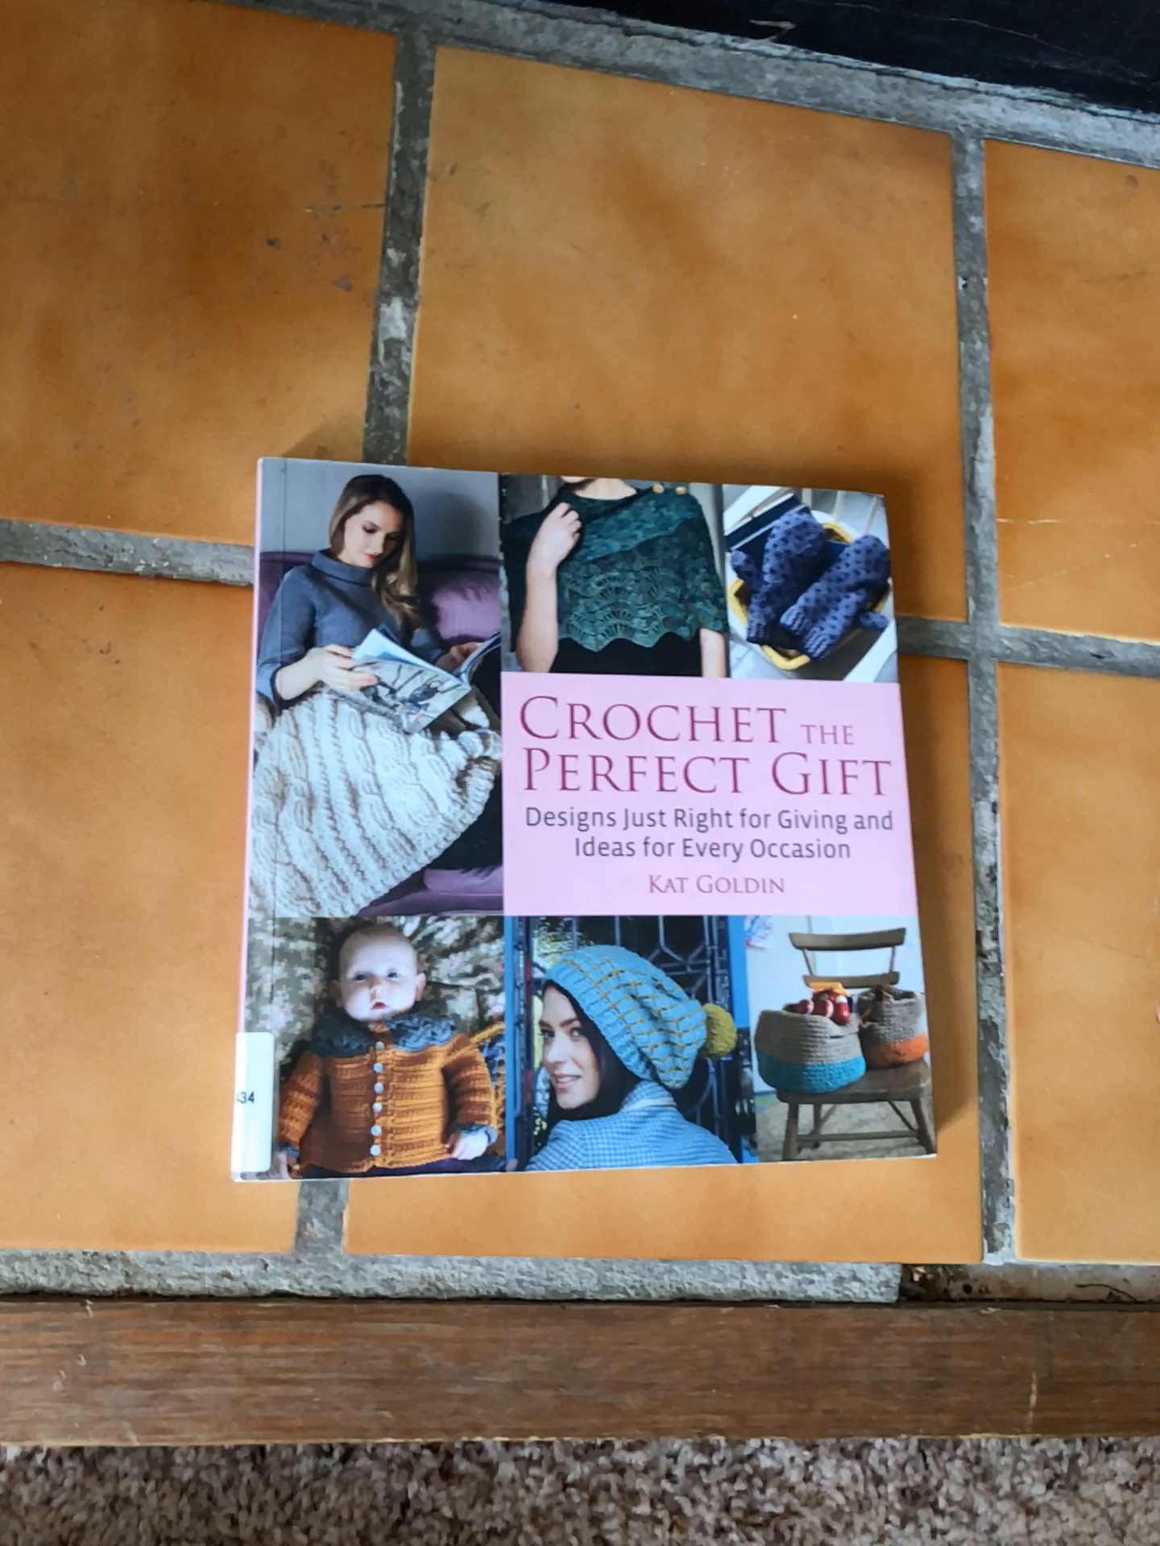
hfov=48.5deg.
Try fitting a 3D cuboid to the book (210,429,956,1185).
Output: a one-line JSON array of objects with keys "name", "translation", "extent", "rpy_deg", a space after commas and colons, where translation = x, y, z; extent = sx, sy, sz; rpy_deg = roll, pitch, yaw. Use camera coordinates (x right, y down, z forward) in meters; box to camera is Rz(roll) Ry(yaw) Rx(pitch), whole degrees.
[{"name": "book", "translation": [0.003, 0.007, 0.400], "extent": [0.217, 0.020, 0.221], "rpy_deg": [1, 78, -11]}]
